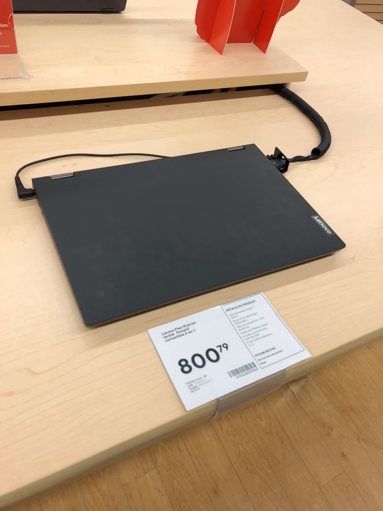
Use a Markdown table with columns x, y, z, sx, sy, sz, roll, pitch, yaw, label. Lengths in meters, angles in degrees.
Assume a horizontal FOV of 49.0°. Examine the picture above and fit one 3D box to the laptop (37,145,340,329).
| x | y | z | sx | sy | sz | roll | pitch | yaw | label |
| --- | --- | --- | --- | --- | --- | --- | --- | --- | --- |
| 0.001 | -0.050 | 0.522 | 0.326 | 0.009 | 0.212 | -15 | 55 | -25 | laptop |
